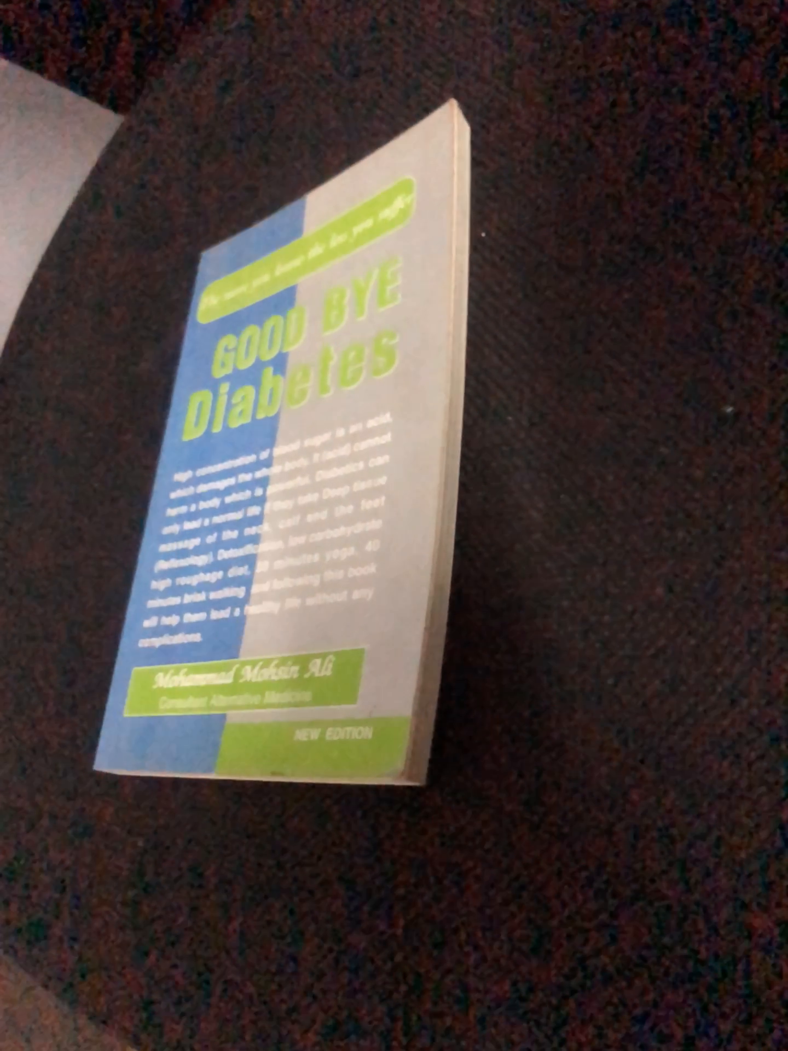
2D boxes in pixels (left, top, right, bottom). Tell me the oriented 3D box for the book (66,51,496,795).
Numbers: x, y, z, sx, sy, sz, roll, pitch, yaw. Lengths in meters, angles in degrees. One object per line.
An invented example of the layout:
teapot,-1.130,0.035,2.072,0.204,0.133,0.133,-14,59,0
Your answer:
book,-0.039,-0.032,0.301,0.150,0.020,0.230,-11,64,39
